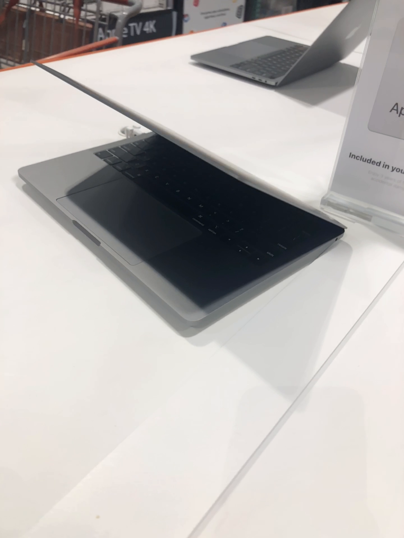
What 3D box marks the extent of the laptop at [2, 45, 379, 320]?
[{"bbox_3d":[-0.025,-0.118,0.448,0.204,0.109,0.296,-27,49,-33],"label":"laptop"}]
